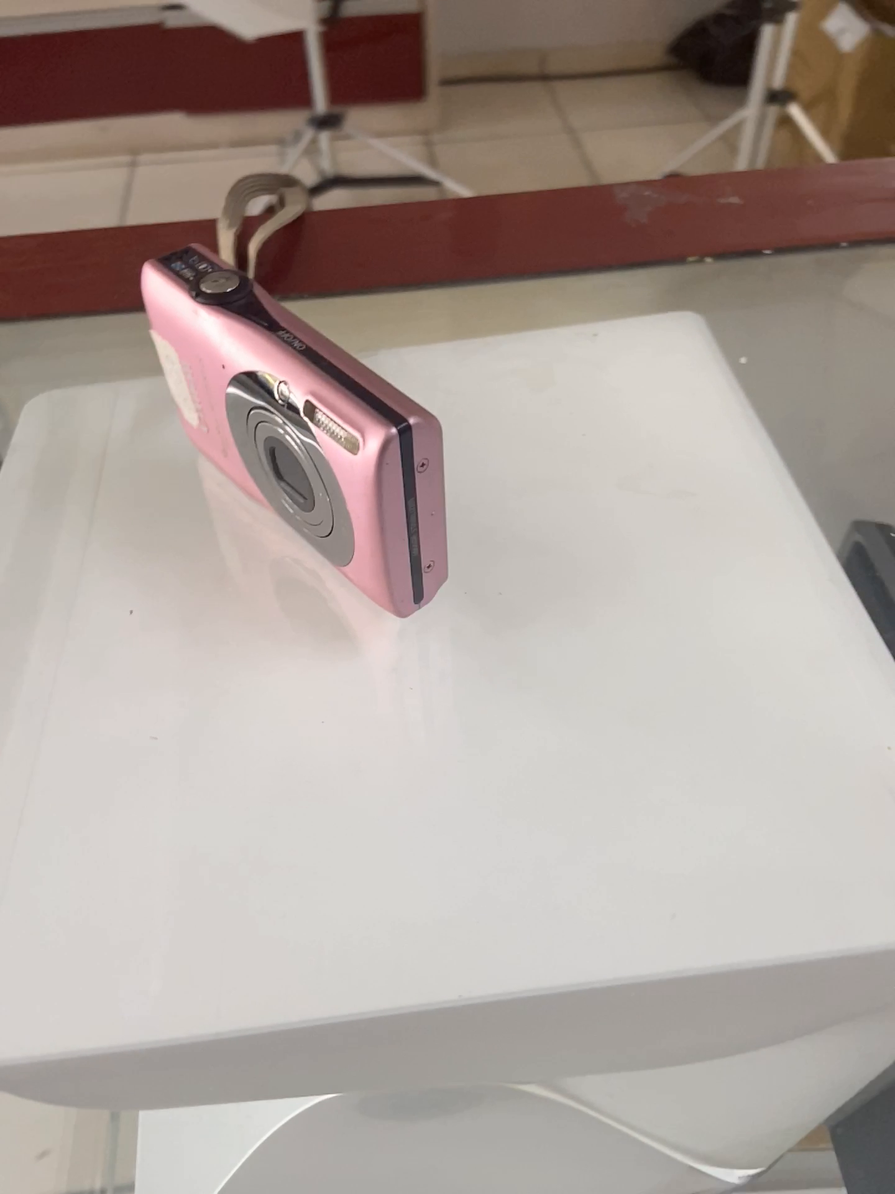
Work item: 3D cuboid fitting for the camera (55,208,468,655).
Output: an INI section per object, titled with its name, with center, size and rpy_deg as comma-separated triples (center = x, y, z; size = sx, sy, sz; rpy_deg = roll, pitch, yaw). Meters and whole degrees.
[camera]
center = -0.041, -0.040, 0.208
size = 0.030, 0.050, 0.100
rpy_deg = -36, 59, -26
